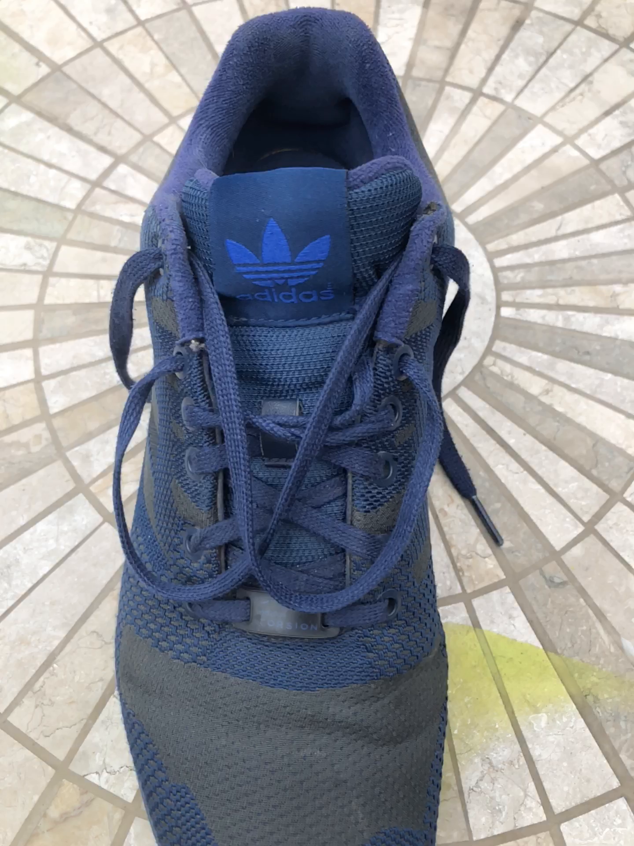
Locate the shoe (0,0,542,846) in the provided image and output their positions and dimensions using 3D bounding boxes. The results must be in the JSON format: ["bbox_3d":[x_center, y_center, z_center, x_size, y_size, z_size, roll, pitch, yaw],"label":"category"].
[{"bbox_3d":[-0.012,0.008,0.222,0.110,0.110,0.281,1,67,2],"label":"shoe"}]
